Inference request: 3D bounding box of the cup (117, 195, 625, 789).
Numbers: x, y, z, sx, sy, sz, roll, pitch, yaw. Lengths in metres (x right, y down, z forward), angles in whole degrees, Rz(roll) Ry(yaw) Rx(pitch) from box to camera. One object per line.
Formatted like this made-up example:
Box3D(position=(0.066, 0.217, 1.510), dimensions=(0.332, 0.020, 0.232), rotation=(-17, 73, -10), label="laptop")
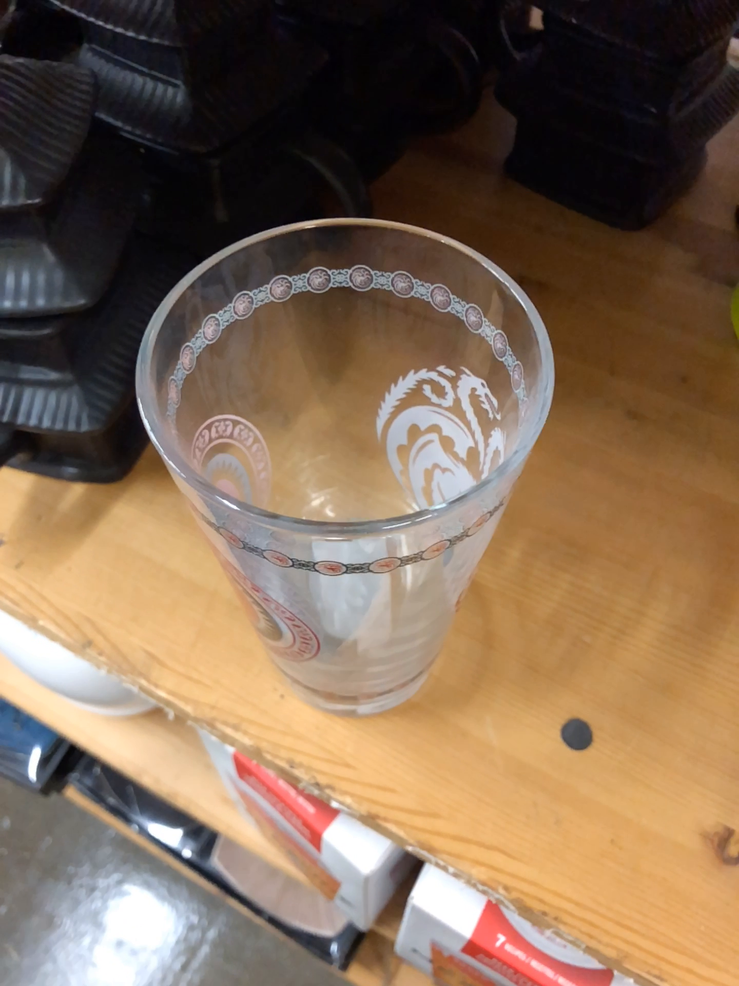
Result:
Box3D(position=(-0.005, 0.009, 0.223), dimensions=(0.084, 0.132, 0.085), rotation=(0, 56, 0), label="cup")
